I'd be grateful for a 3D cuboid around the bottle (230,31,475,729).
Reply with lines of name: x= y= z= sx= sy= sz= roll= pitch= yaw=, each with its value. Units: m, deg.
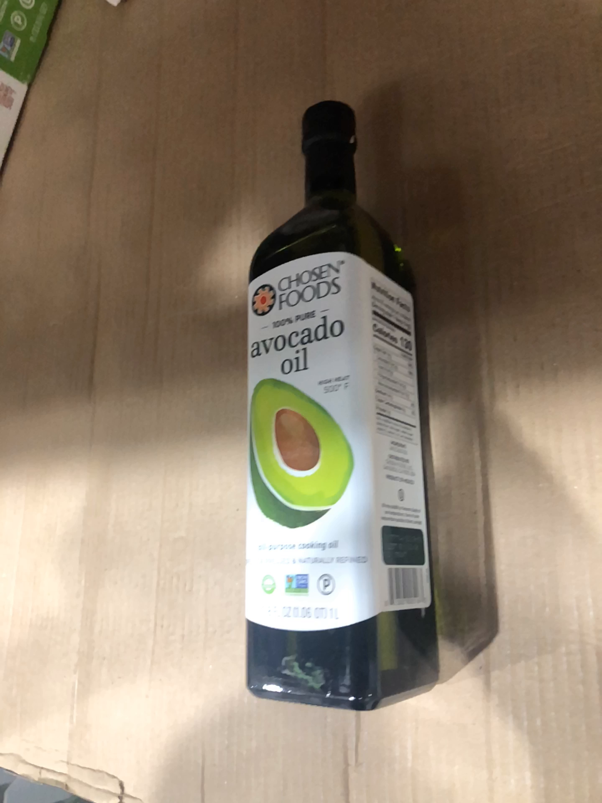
bottle: x=0.025 y=-0.017 z=0.347 sx=0.087 sy=0.074 sz=0.320 roll=-10 pitch=72 yaw=33
